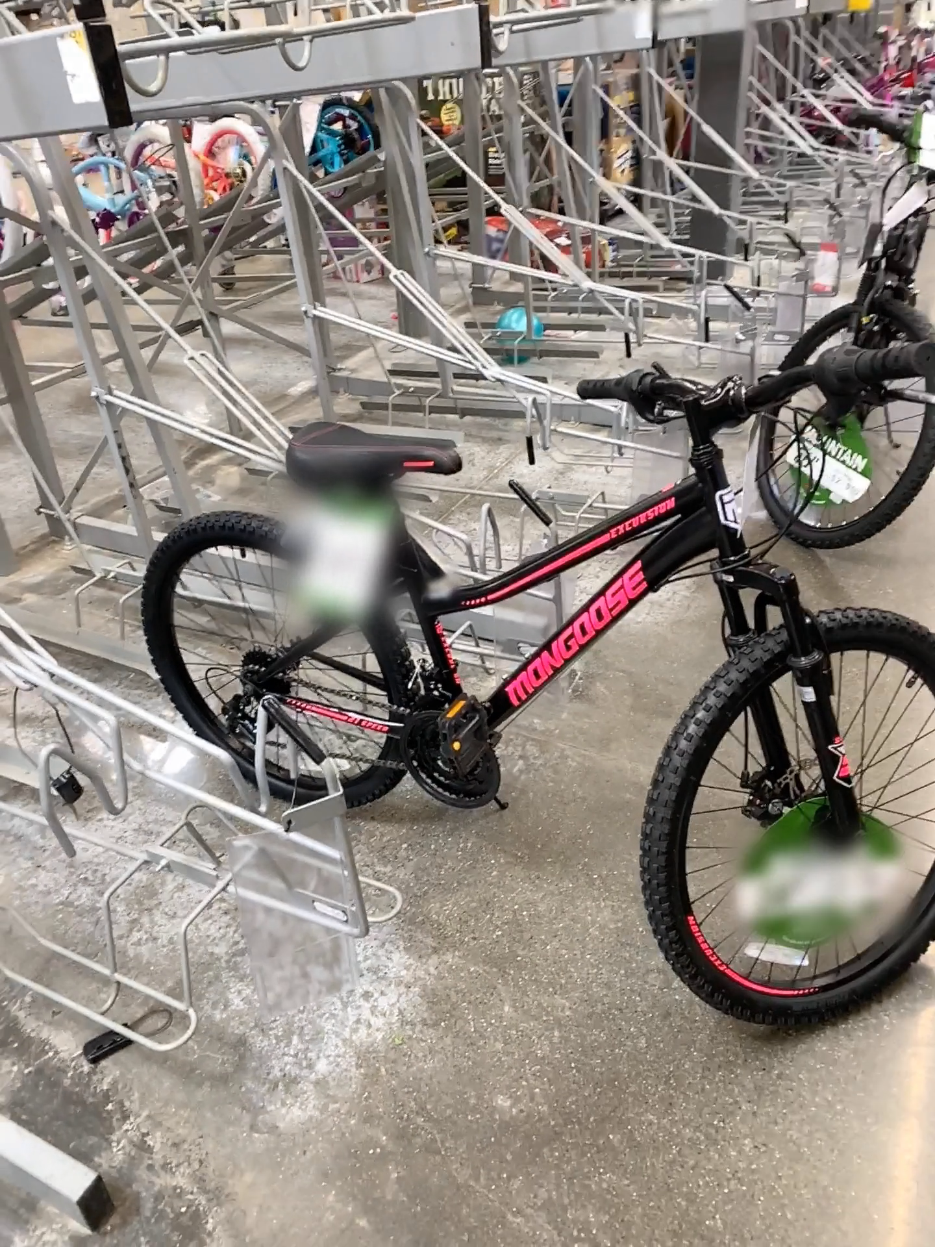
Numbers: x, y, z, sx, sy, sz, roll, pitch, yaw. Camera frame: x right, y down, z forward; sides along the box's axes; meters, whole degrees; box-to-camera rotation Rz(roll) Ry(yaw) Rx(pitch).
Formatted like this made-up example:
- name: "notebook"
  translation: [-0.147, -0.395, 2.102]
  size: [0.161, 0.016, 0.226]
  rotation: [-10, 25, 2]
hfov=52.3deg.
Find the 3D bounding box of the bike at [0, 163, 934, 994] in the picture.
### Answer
- name: "bike"
  translation: [0.054, -0.098, 1.509]
  size: [1.400, 0.963, 0.642]
  rotation: [5, 33, 17]
